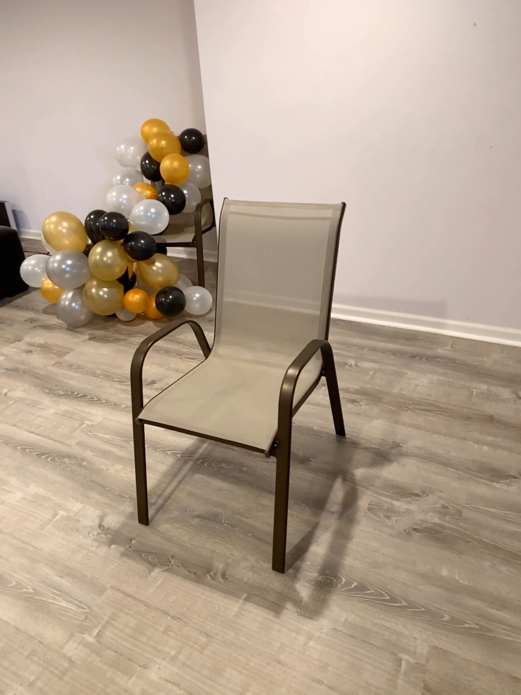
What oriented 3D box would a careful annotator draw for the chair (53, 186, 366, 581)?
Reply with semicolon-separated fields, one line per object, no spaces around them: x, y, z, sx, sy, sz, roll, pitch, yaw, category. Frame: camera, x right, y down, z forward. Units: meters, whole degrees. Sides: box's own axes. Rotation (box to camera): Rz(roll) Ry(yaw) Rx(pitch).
-0.061;0.039;1.631;0.565;0.874;0.719;9;30;23;chair
